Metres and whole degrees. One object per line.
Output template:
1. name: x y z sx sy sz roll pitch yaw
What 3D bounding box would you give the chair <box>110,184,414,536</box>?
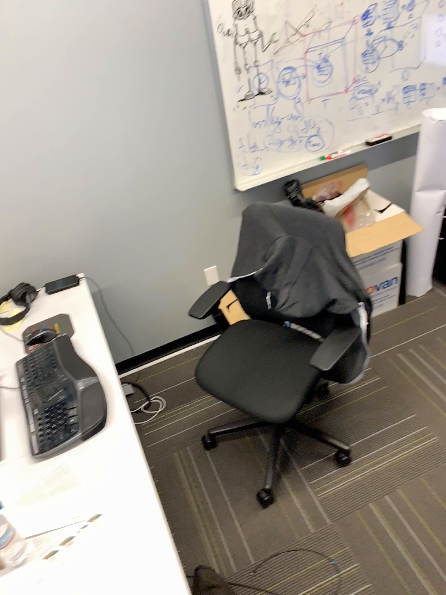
1. chair: 0.195 0.218 1.891 0.774 0.994 0.731 27 52 38
